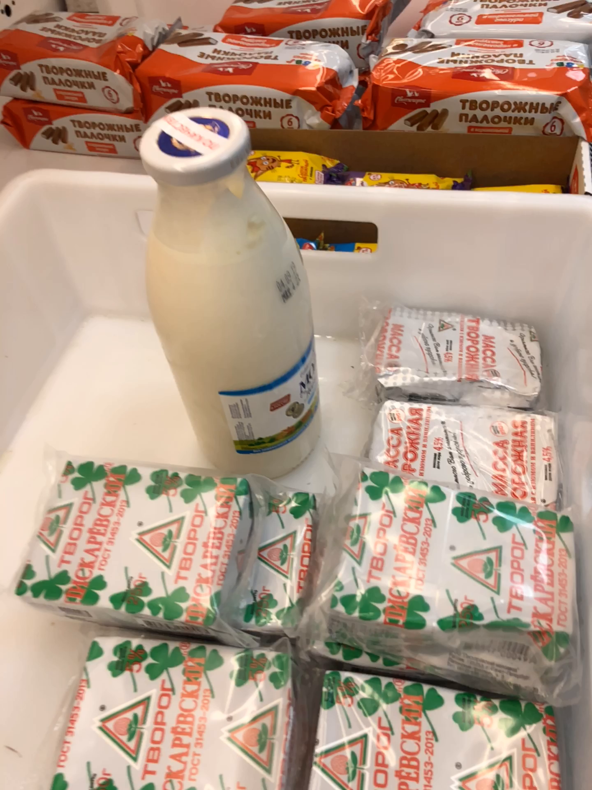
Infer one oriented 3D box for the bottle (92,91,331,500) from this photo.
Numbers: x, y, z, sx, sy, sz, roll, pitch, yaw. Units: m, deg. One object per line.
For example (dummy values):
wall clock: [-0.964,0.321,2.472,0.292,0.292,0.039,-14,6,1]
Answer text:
bottle: [-0.027,-0.035,0.347,0.072,0.220,0.072,-3,50,4]
